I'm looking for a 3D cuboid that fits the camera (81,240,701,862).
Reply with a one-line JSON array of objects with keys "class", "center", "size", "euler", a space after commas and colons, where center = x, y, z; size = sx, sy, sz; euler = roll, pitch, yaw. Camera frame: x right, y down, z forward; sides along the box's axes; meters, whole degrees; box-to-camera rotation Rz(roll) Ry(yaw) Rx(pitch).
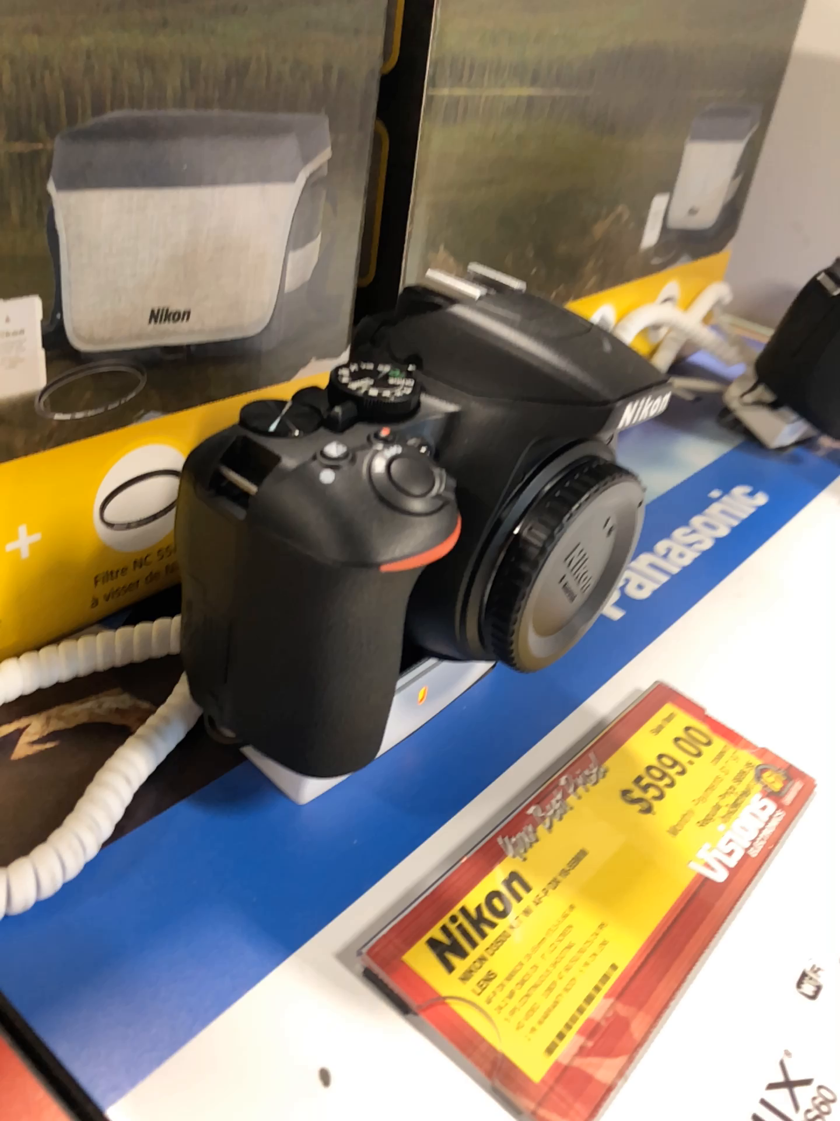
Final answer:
[{"class": "camera", "center": [-0.007, -0.014, 0.236], "size": [0.080, 0.099, 0.120], "euler": [31, 38, 30]}]
